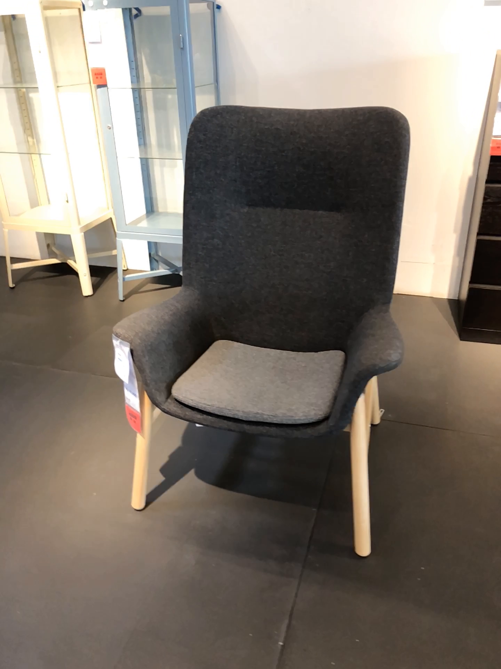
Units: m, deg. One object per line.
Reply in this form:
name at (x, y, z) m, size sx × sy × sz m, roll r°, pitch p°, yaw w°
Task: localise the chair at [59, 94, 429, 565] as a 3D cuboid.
chair at (0.066, -0.081, 1.574) m, size 0.720 × 1.064 × 0.714 m, roll 7°, pitch 28°, yaw 16°
